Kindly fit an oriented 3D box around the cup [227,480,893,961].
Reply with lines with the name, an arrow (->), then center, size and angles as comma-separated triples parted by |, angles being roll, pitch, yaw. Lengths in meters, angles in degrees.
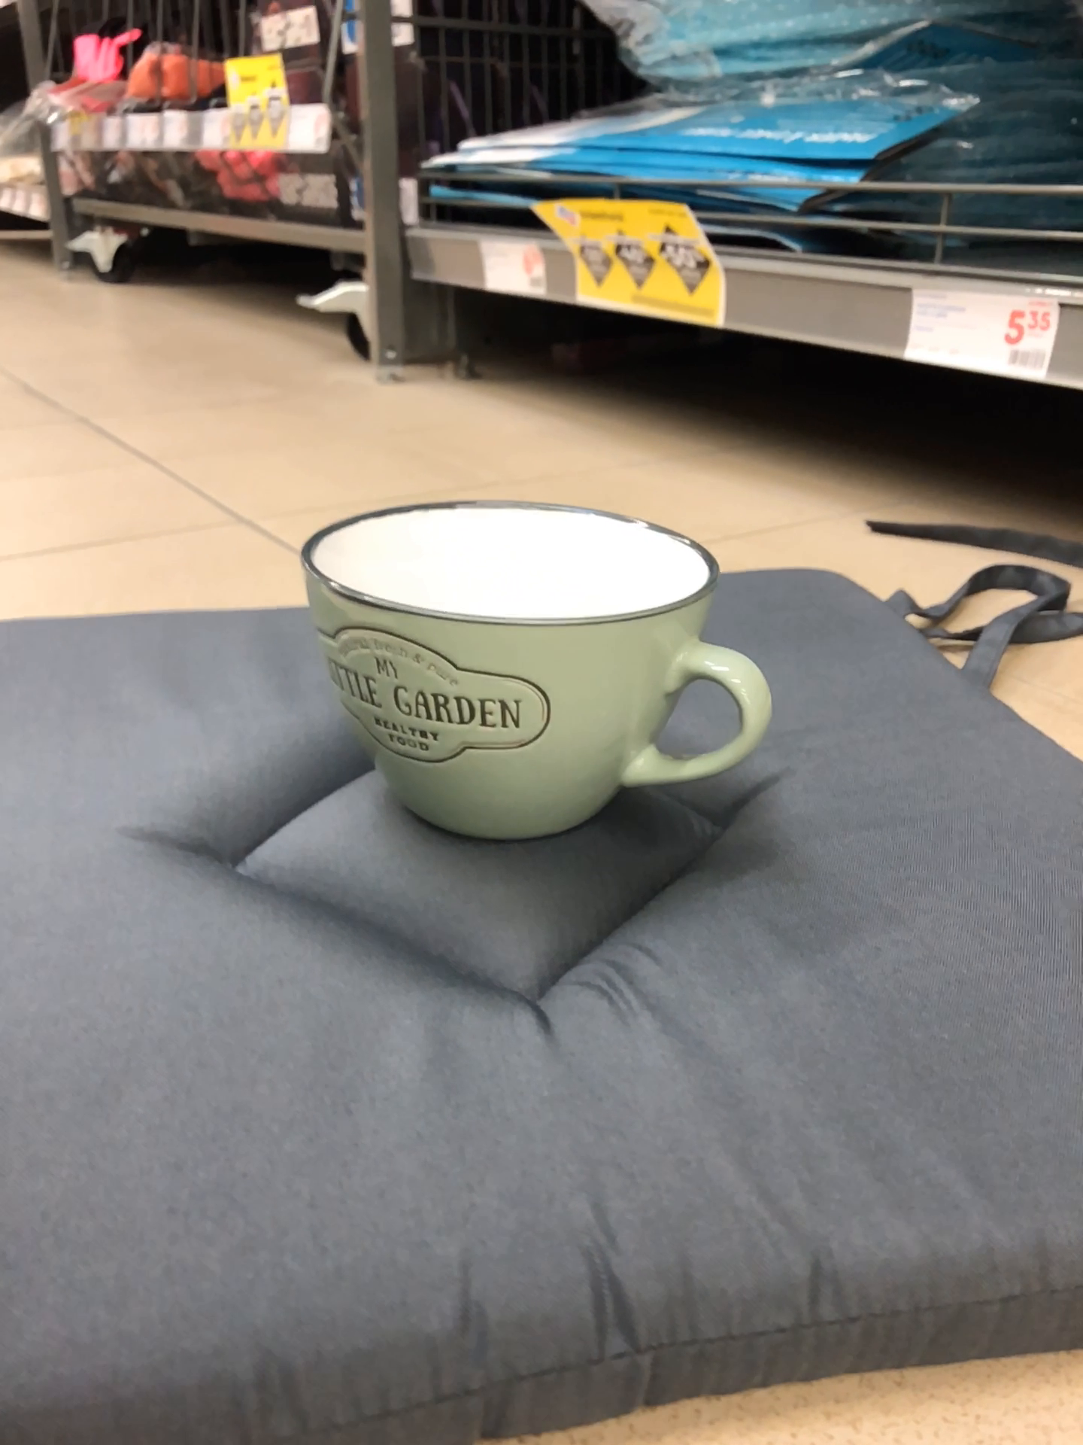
cup -> 0.008, -0.014, 0.343 | 0.140, 0.070, 0.121 | 16, 28, 30
